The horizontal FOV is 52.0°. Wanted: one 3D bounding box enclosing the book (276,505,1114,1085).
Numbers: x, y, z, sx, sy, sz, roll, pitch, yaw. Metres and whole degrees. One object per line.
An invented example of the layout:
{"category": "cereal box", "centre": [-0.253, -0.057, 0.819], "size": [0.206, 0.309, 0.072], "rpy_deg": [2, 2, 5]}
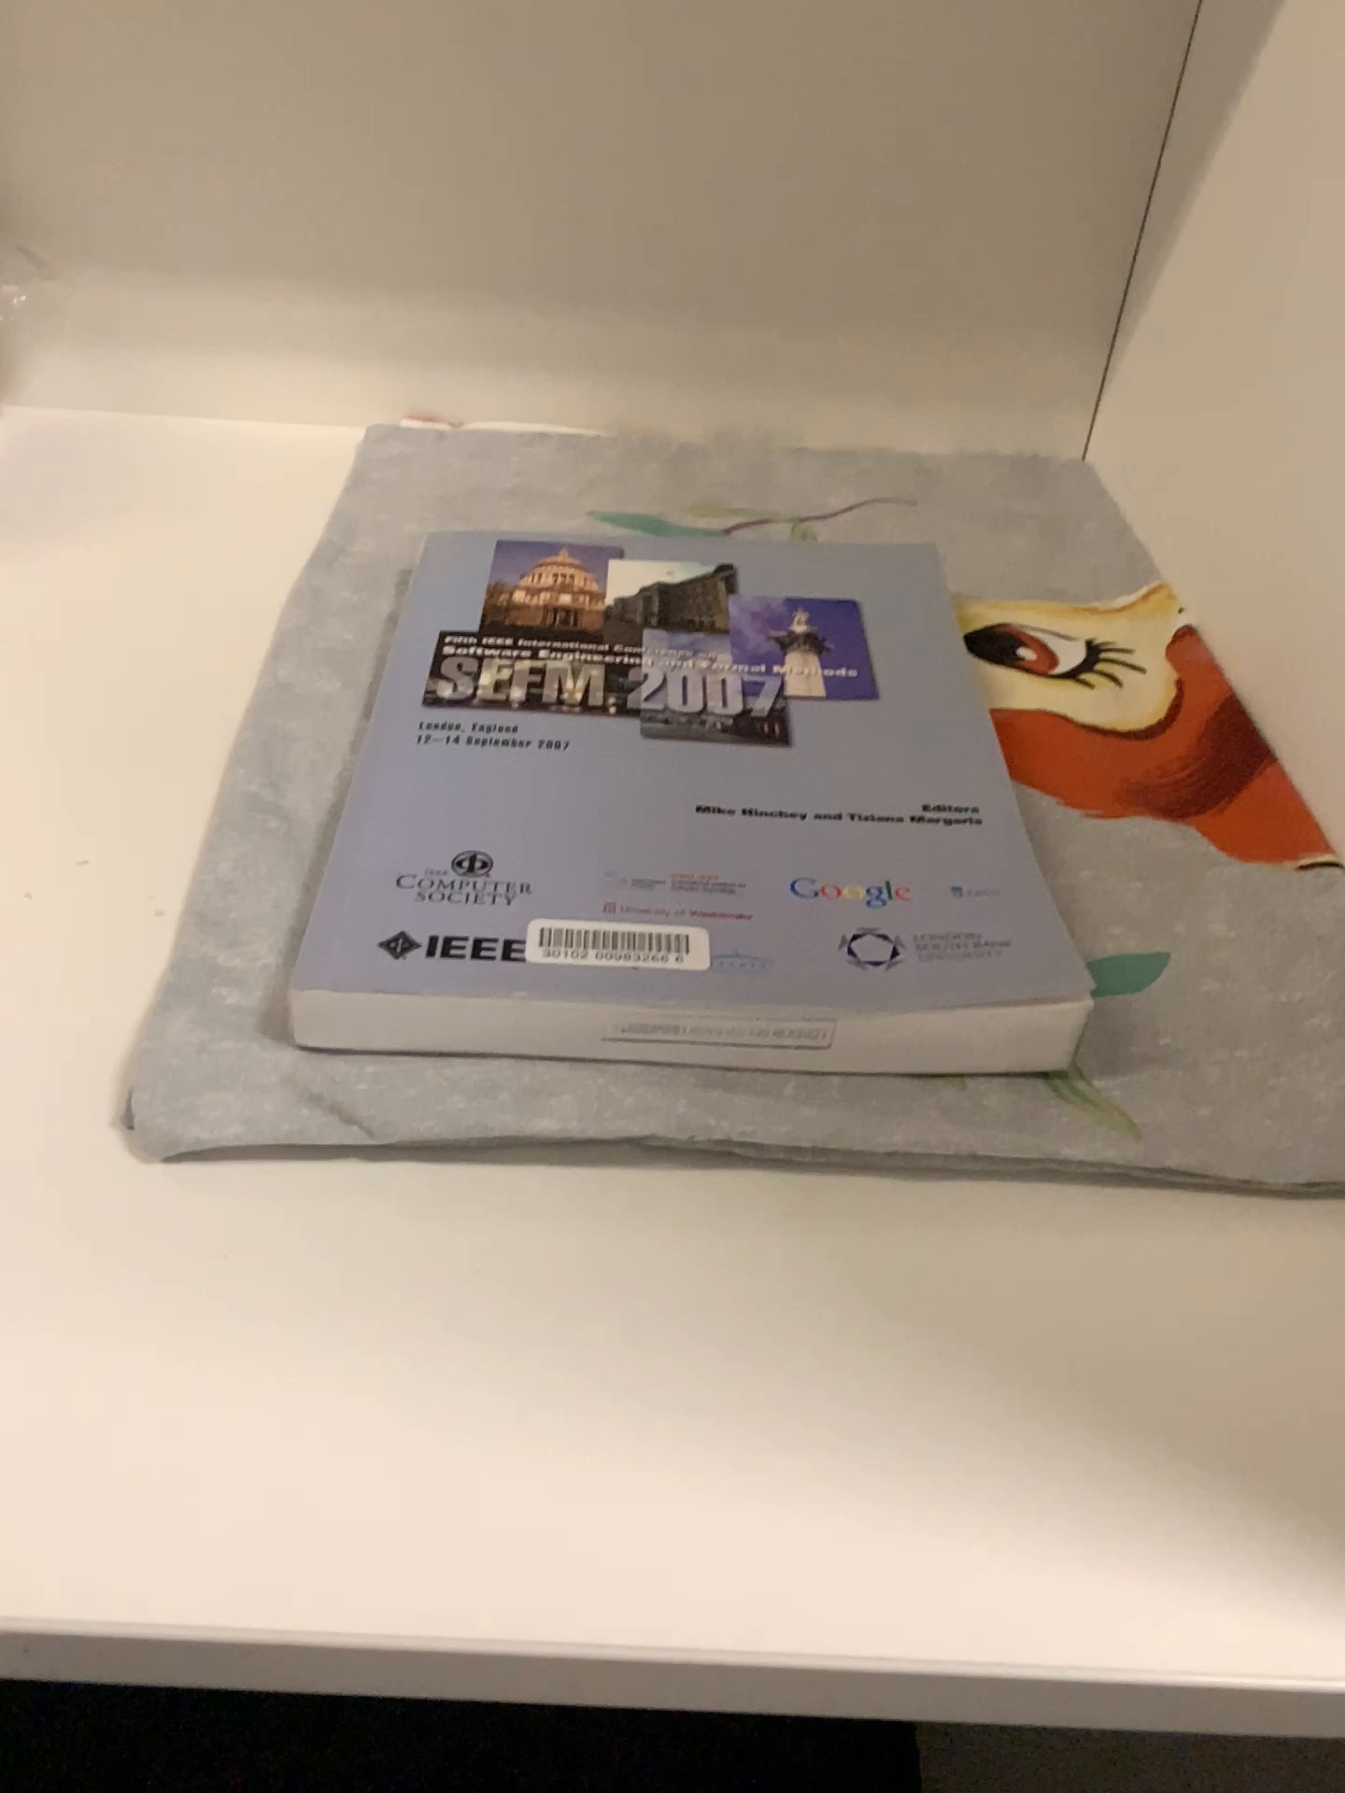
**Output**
{"category": "book", "centre": [0.006, -0.054, 0.461], "size": [0.210, 0.030, 0.277], "rpy_deg": [3, 39, -2]}
